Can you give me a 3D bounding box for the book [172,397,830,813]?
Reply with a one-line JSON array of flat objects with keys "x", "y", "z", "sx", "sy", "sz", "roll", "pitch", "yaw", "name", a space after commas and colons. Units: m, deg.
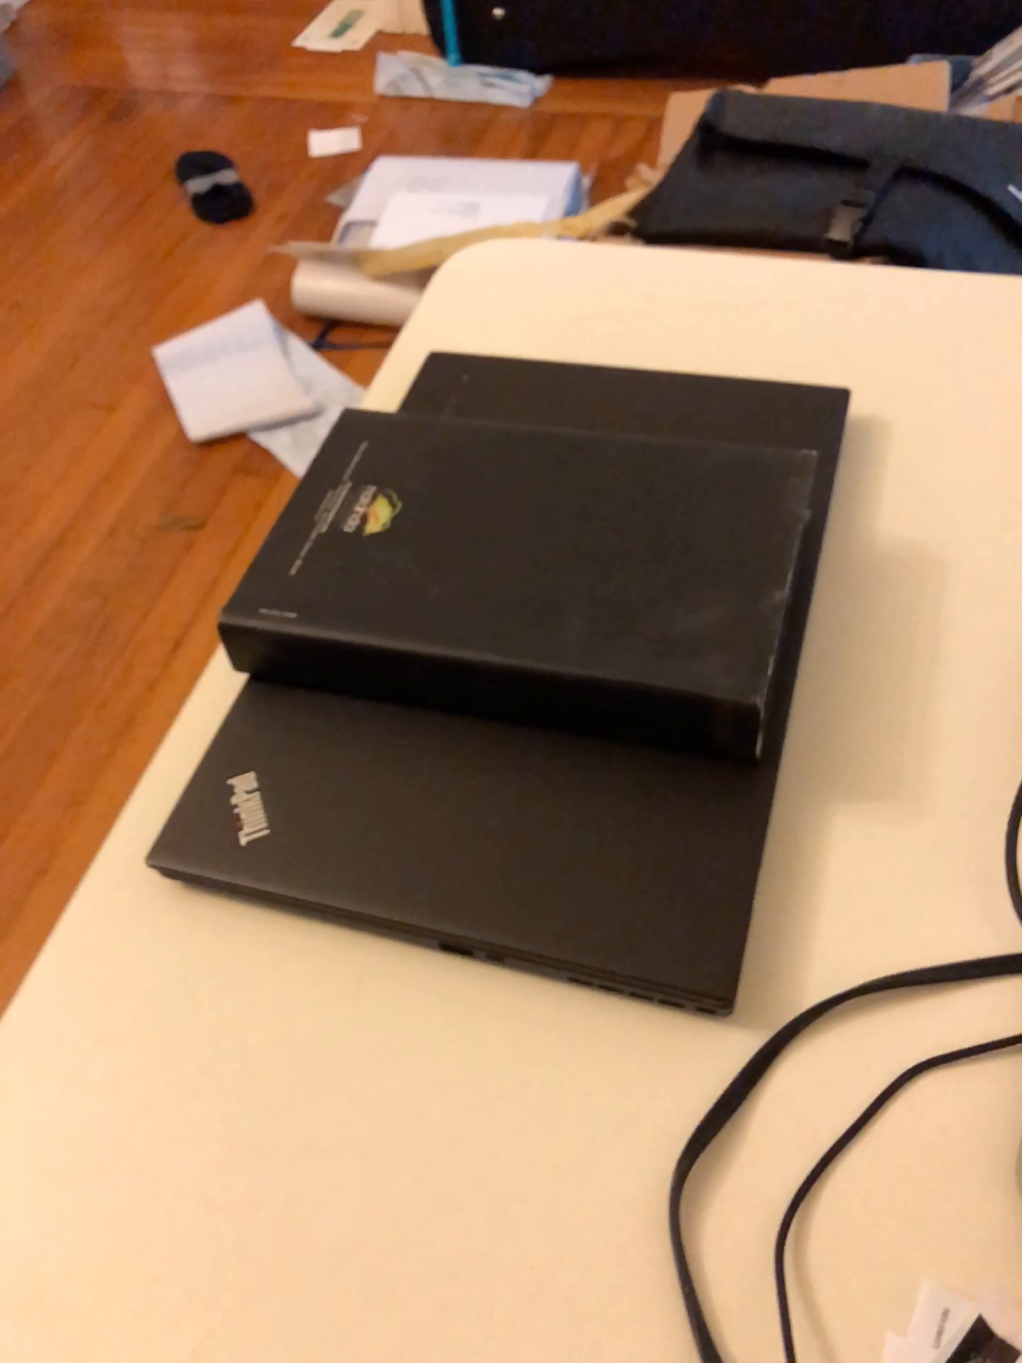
[{"x": 0.002, "y": -0.042, "z": 0.470, "sx": 0.230, "sy": 0.040, "sz": 0.151, "roll": 10, "pitch": 53, "yaw": 14, "name": "book"}]
